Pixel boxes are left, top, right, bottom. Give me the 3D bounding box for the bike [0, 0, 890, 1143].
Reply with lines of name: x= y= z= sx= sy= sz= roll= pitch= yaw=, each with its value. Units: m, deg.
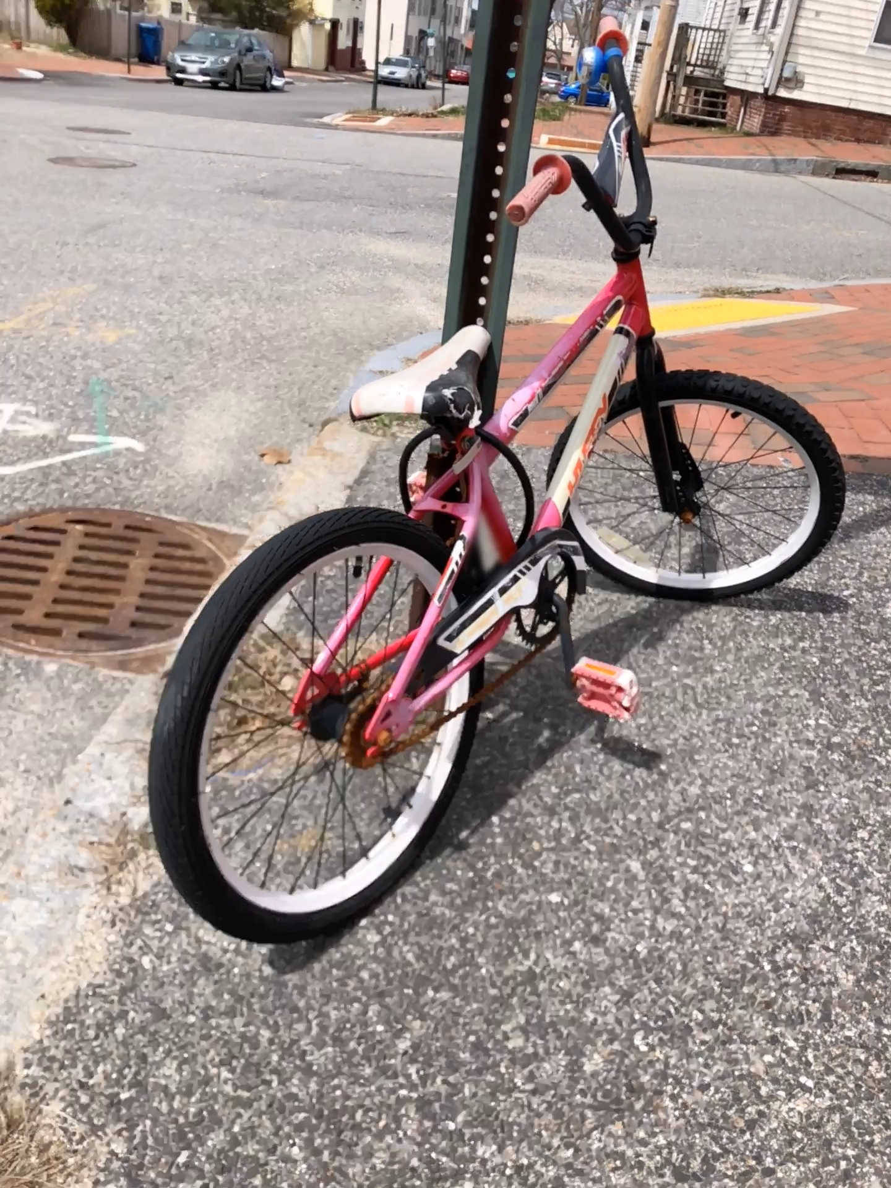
bike: x=0.184 y=-0.206 z=1.147 sx=0.696 sy=0.887 sz=1.181 roll=31 pitch=38 yaw=33
